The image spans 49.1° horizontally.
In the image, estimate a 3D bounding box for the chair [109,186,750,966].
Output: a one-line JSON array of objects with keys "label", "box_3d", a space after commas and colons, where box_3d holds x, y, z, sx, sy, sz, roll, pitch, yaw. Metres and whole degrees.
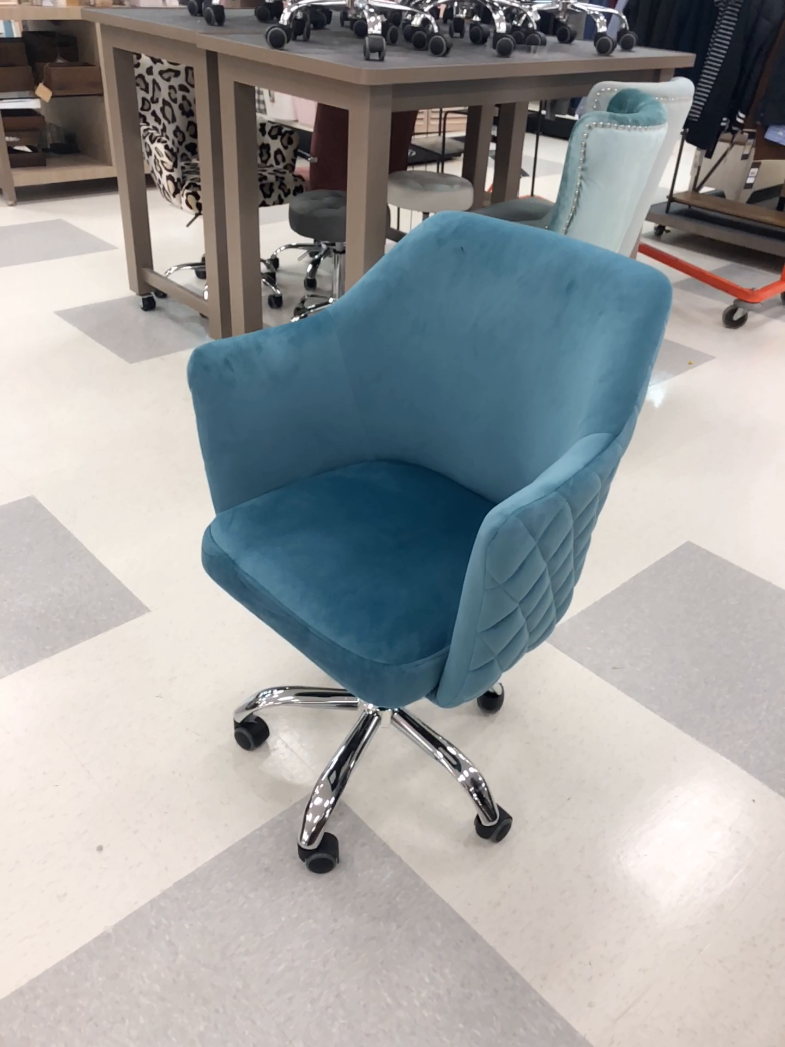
[{"label": "chair", "box_3d": [0.016, 0.033, 1.330, 0.563, 0.887, 0.596, -23, 41, -35]}]

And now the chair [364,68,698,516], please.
[{"label": "chair", "box_3d": [0.380, -0.687, 2.431, 0.651, 0.967, 0.739, 14, 34, 16]}]
